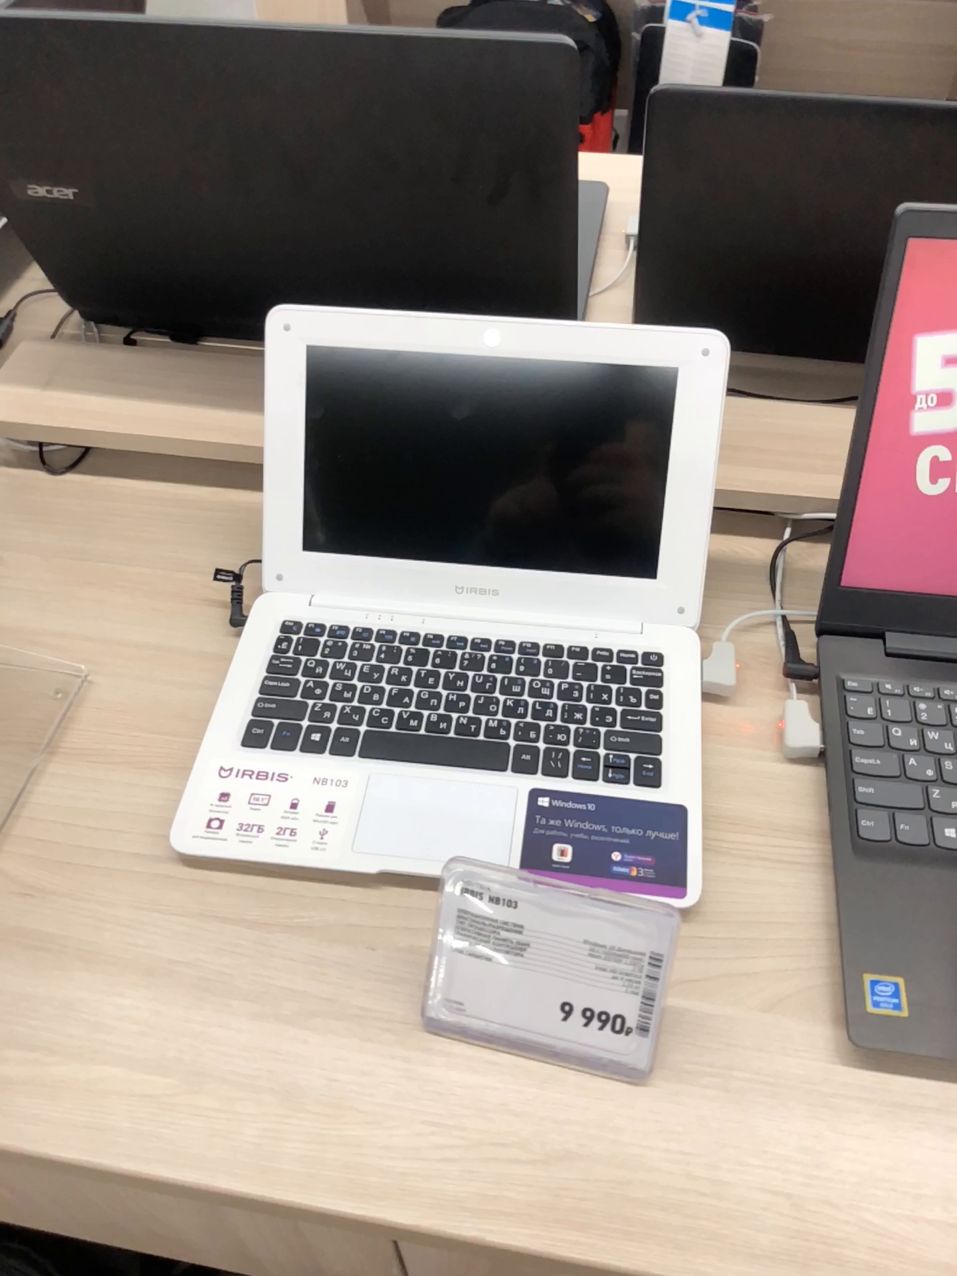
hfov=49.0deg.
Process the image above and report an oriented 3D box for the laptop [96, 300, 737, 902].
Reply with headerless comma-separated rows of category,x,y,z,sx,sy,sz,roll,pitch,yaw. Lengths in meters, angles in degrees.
laptop,-0.009,-0.041,0.630,0.296,0.144,0.319,5,50,7
